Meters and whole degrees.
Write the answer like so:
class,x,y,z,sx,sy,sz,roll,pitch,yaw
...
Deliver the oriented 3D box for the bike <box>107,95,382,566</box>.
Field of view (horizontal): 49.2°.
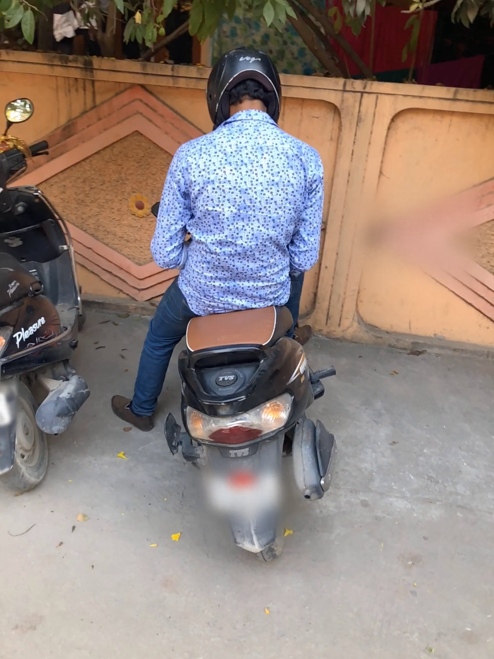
class,x,y,z,sx,sy,sz,roll,pitch,yaw
bike,-0.145,-0.127,1.990,0.628,1.038,1.326,0,31,-9
